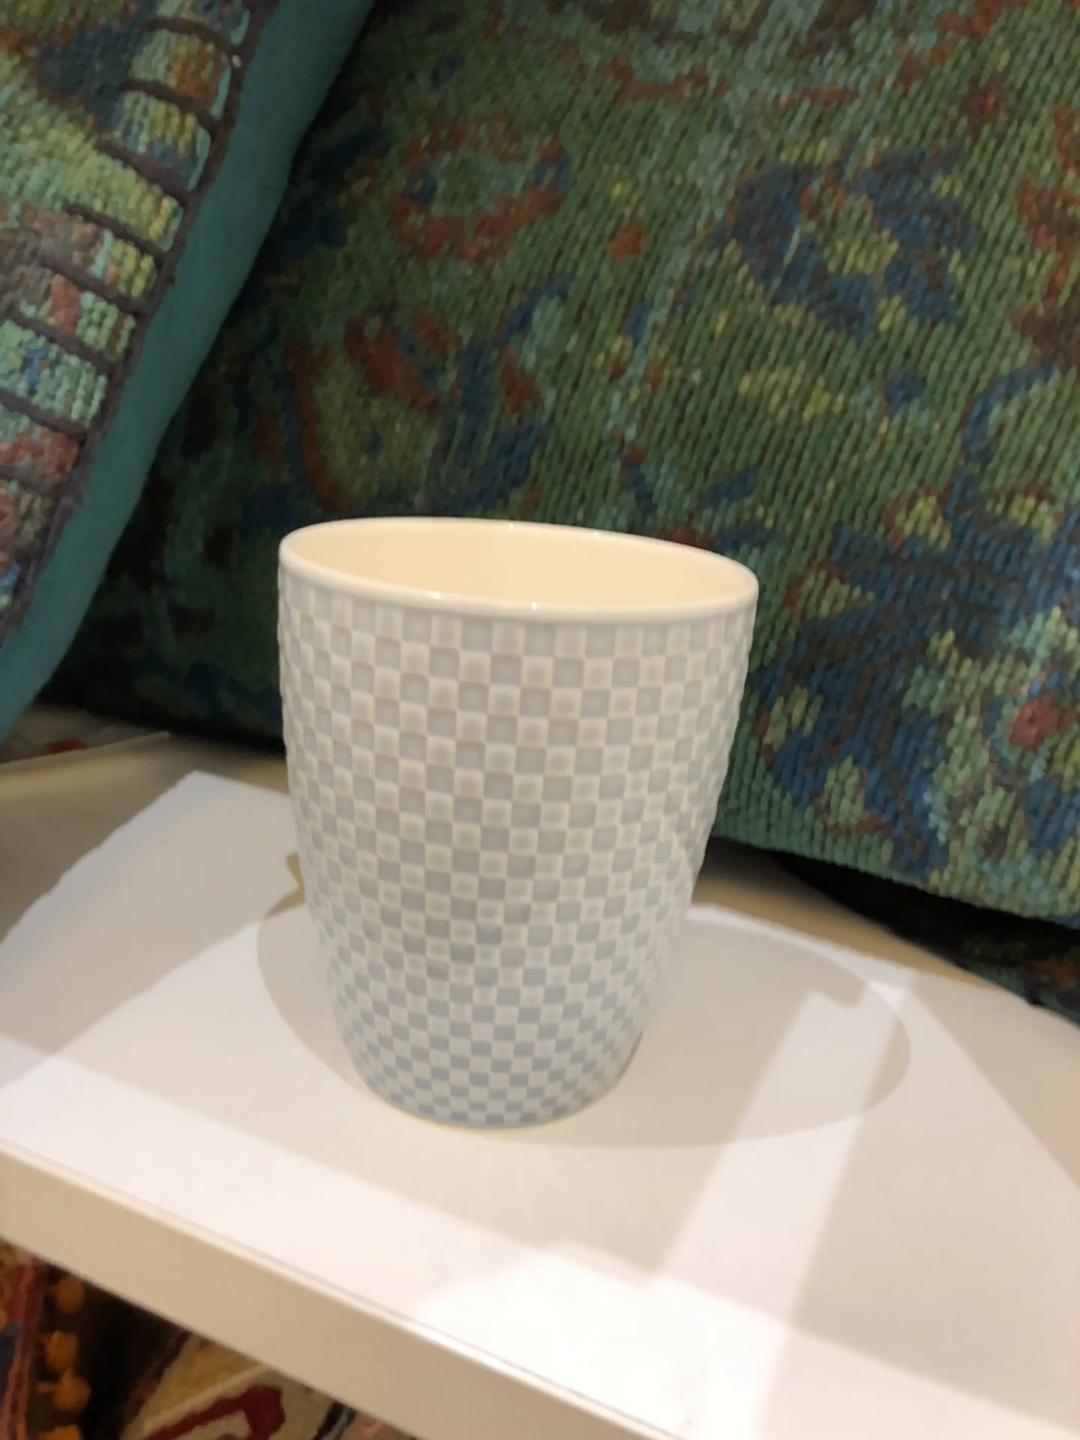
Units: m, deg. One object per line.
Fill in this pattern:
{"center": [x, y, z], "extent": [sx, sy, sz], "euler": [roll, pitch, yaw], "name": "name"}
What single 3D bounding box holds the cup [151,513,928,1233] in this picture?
{"center": [-0.006, 0.011, 0.216], "extent": [0.090, 0.080, 0.100], "euler": [-8, 20, -35], "name": "cup"}
